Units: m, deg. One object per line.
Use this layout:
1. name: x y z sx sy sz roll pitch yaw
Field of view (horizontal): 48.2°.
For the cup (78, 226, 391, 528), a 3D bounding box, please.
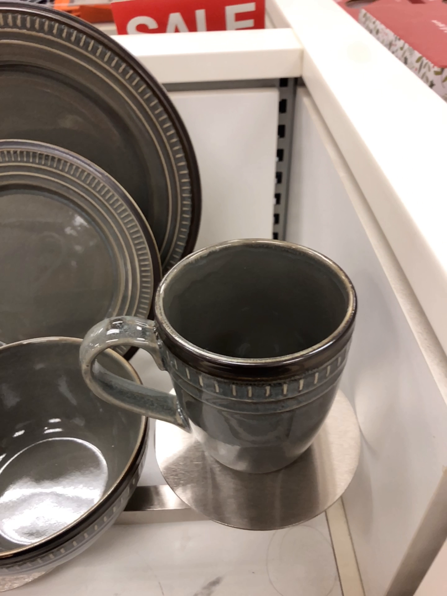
1. cup: -0.001 0.039 0.264 0.126 0.106 0.089 -9 40 -8
